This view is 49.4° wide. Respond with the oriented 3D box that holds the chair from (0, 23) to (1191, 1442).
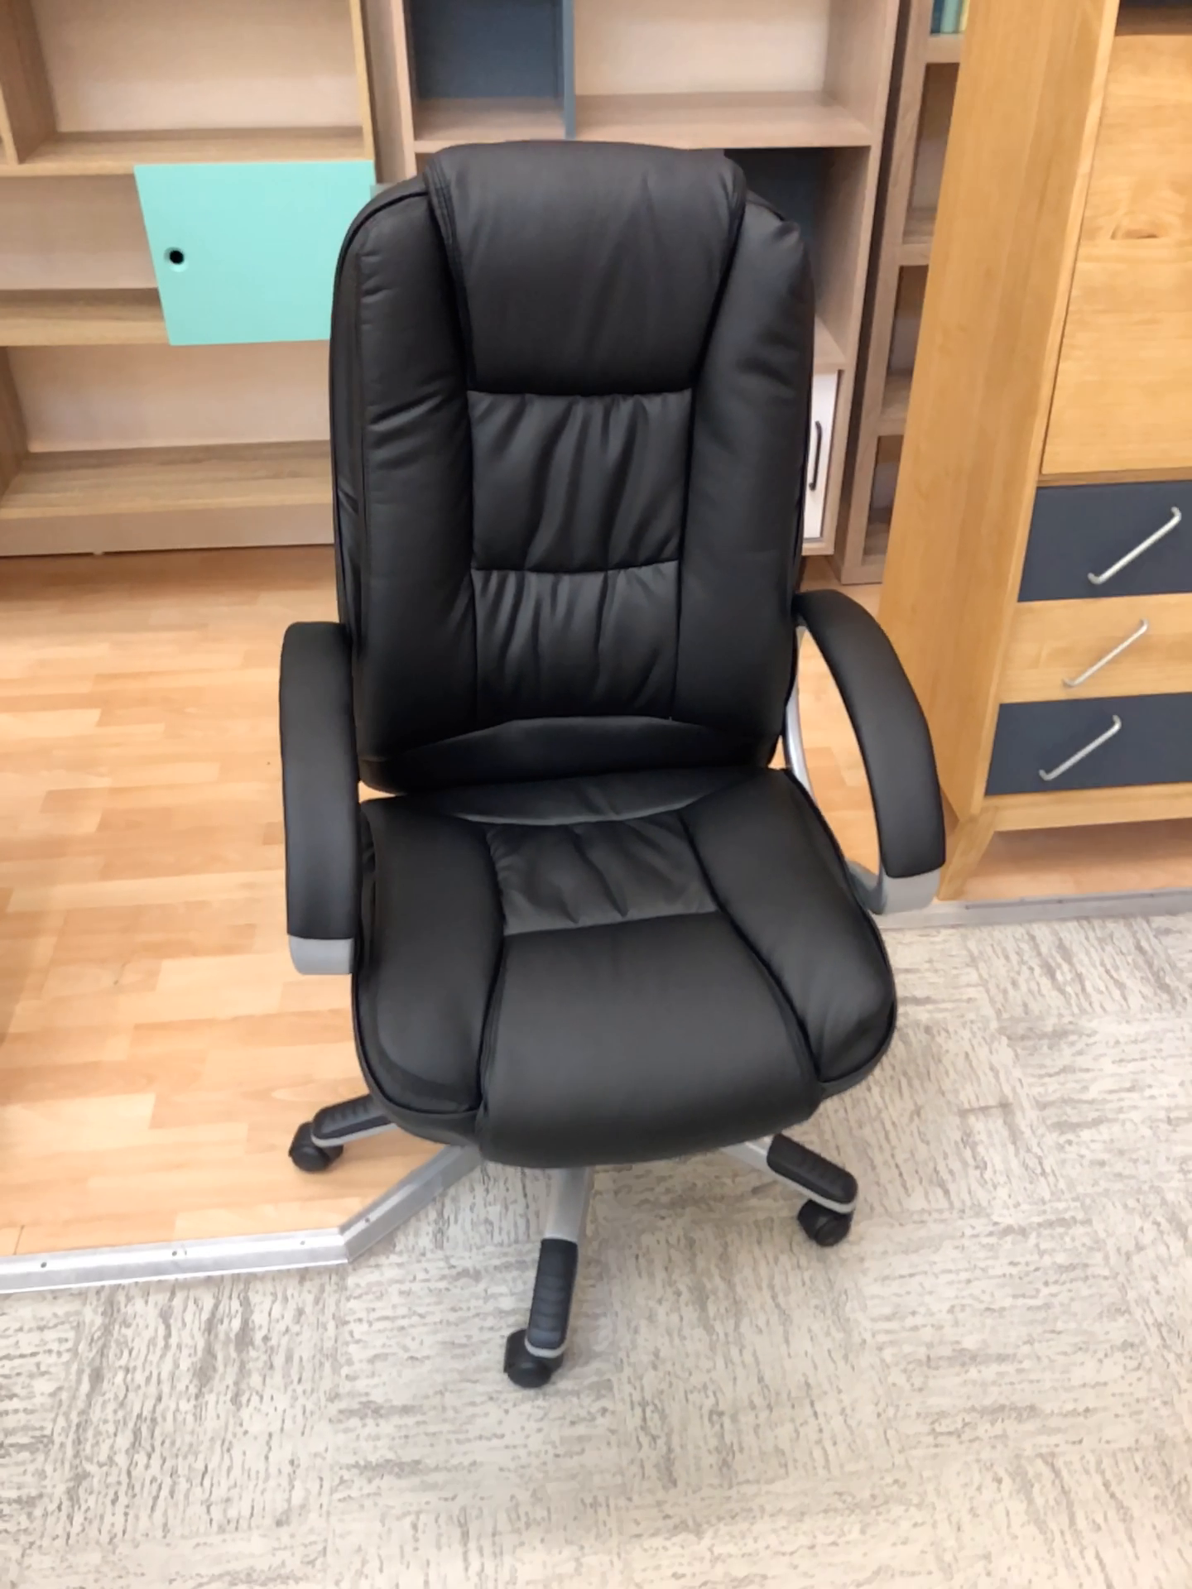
[{"bbox_3d":[-0.079,-0.076,1.235,0.761,1.064,0.683,-7,36,-10],"label":"chair"}]
